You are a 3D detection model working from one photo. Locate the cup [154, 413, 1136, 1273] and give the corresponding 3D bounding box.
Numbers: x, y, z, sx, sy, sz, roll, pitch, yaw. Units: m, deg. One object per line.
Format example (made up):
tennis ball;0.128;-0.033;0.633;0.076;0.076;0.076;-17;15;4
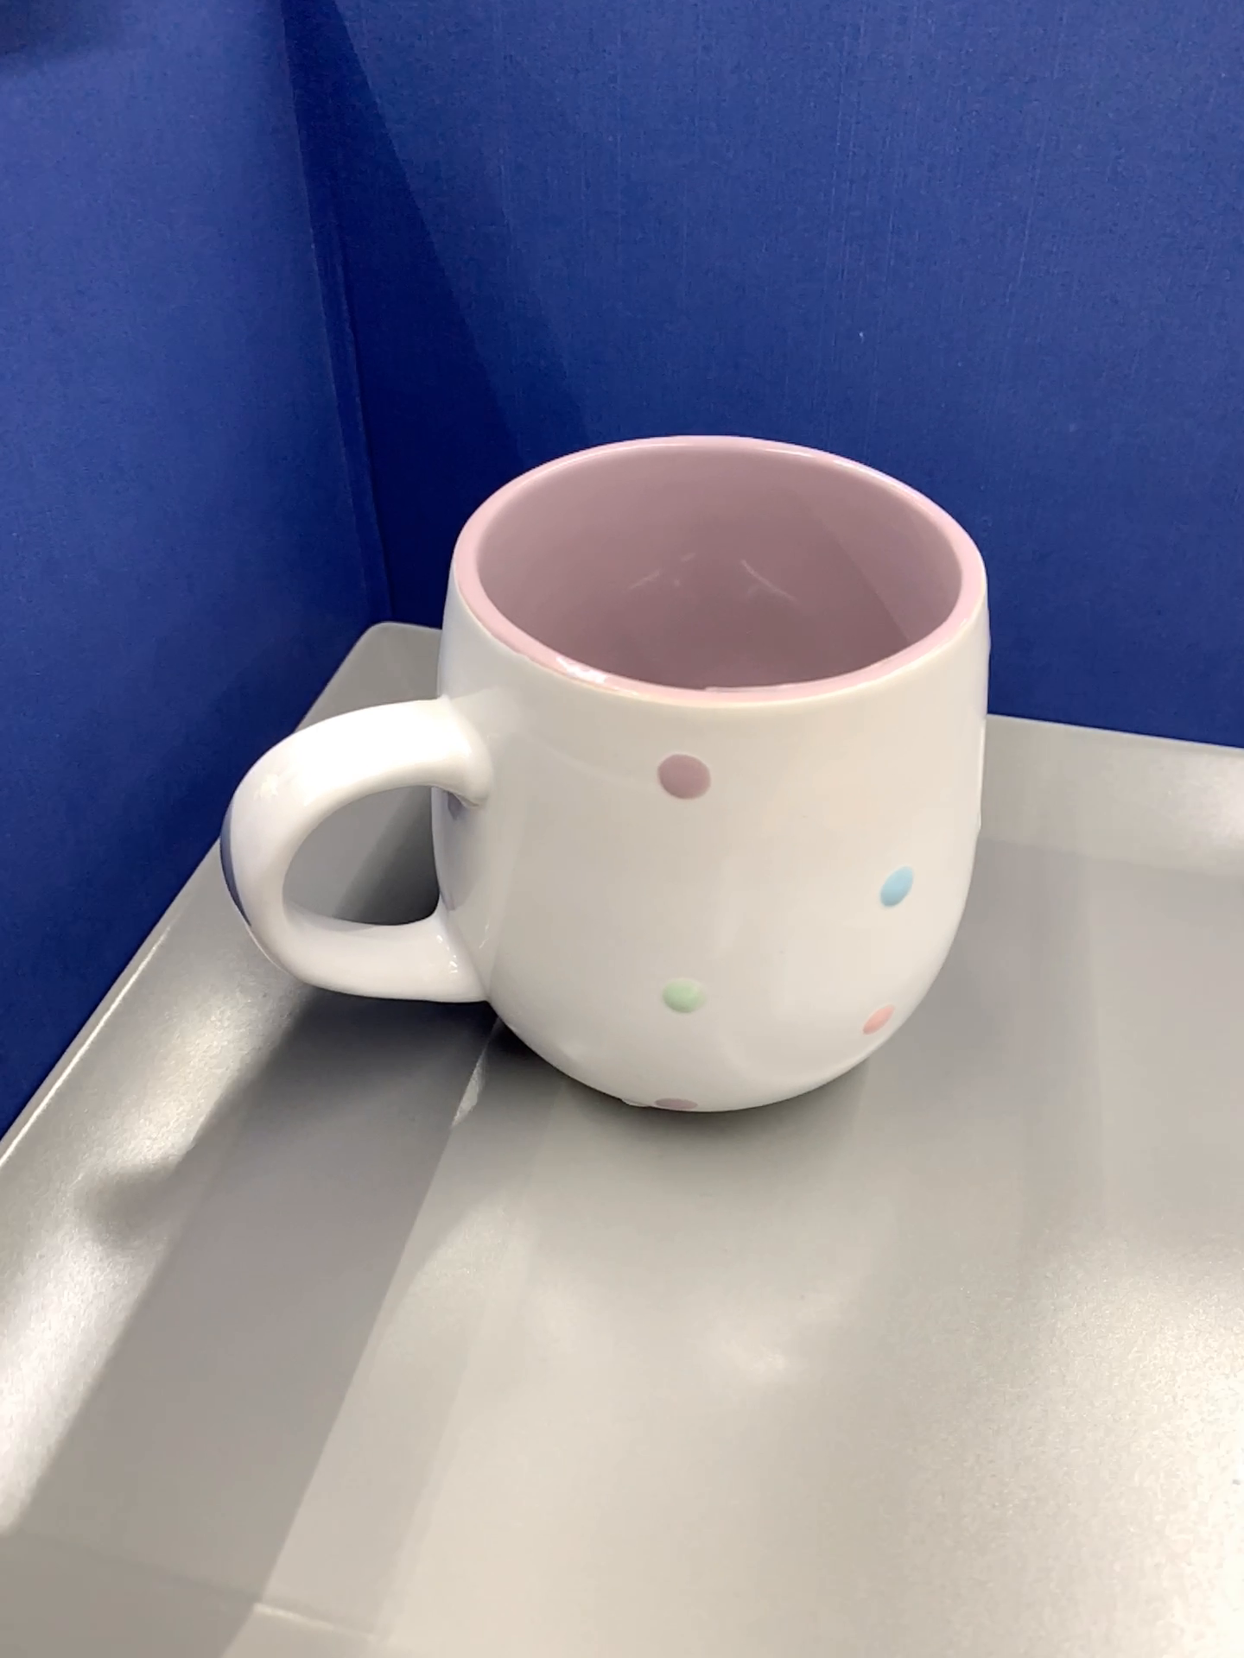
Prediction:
cup;-0.002;-0.007;0.235;0.130;0.088;0.097;-14;40;-18
